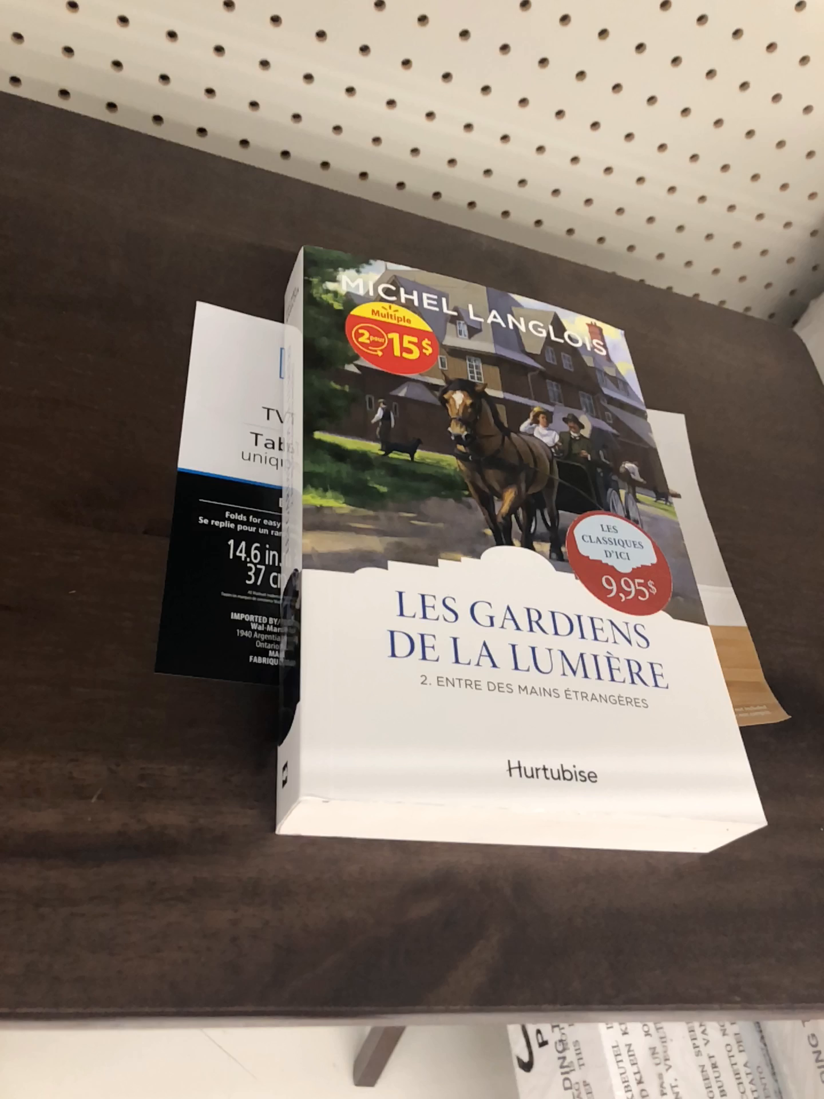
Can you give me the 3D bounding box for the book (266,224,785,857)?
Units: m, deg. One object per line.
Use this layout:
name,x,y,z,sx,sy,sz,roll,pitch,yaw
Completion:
book,0.031,-0.012,0.344,0.158,0.039,0.235,10,53,-20
